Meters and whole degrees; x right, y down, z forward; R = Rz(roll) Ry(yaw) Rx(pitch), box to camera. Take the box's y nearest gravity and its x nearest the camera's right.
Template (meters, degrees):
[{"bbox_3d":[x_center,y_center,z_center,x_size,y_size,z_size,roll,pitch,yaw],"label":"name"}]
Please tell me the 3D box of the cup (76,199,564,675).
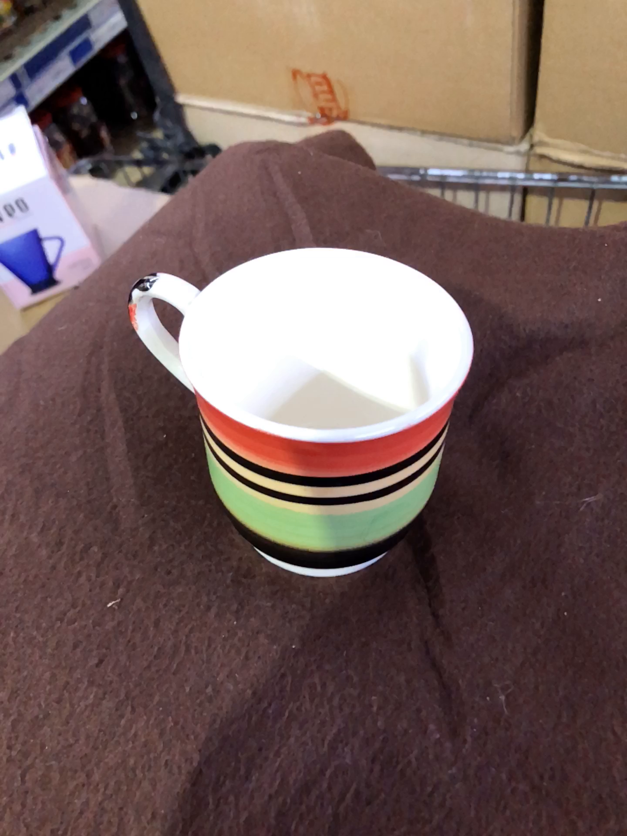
[{"bbox_3d":[0.002,-0.001,0.188,0.090,0.070,0.070,27,52,29],"label":"cup"}]
